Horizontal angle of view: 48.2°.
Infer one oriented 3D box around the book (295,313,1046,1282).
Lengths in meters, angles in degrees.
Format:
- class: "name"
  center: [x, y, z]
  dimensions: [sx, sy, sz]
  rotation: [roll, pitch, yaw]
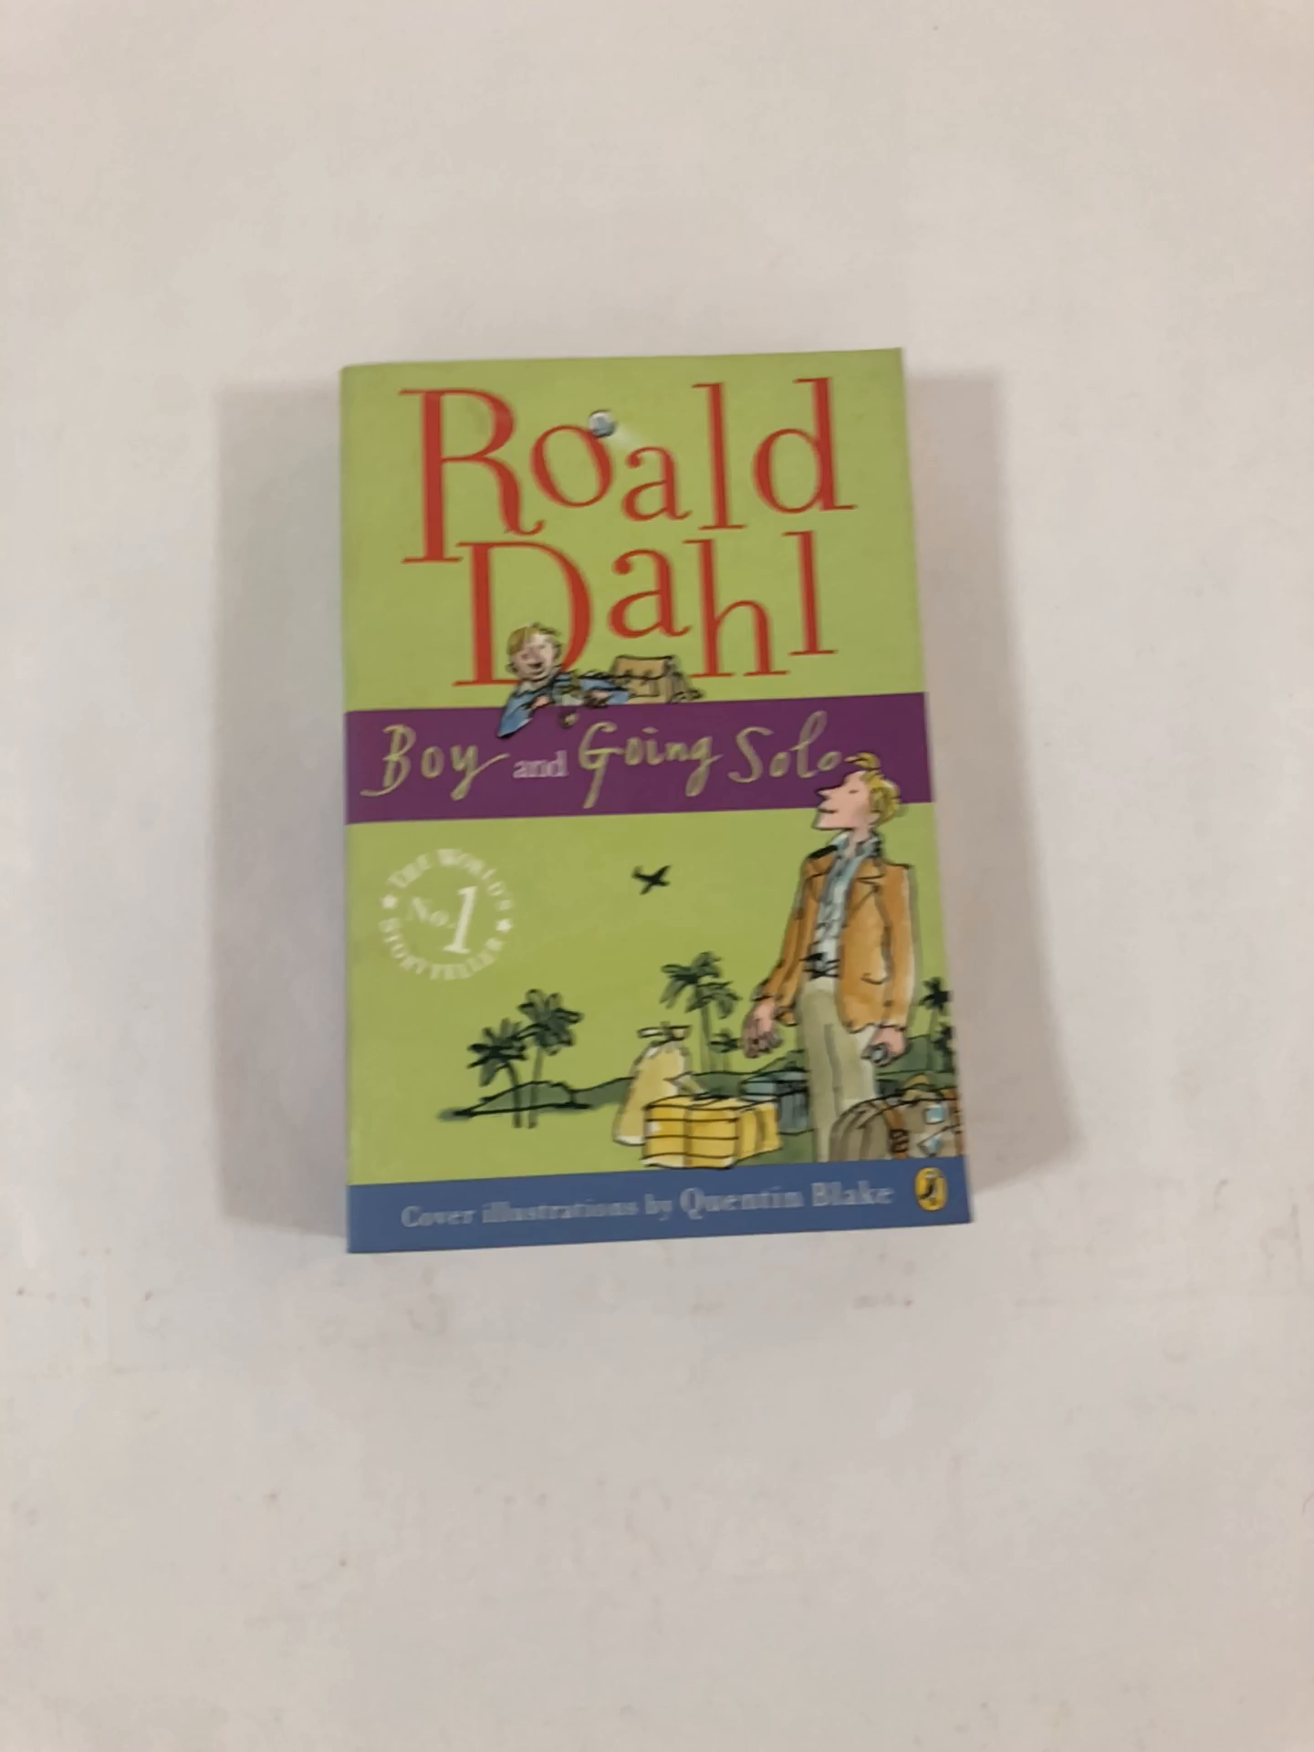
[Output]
- class: "book"
  center: [-0.001, -0.019, 0.312]
  dimensions: [0.140, 0.036, 0.193]
  rotation: [-3, 81, -4]
